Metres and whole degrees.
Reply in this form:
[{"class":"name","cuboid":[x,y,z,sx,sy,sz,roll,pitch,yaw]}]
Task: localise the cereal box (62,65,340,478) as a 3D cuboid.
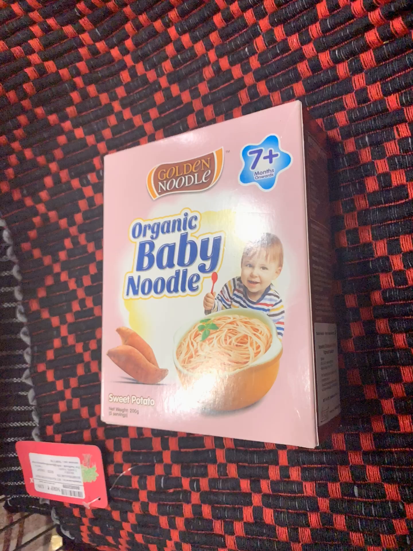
[{"class":"cereal box","cuboid":[-0.009,0.002,0.221,0.131,0.050,0.160,-5,84,31]}]
